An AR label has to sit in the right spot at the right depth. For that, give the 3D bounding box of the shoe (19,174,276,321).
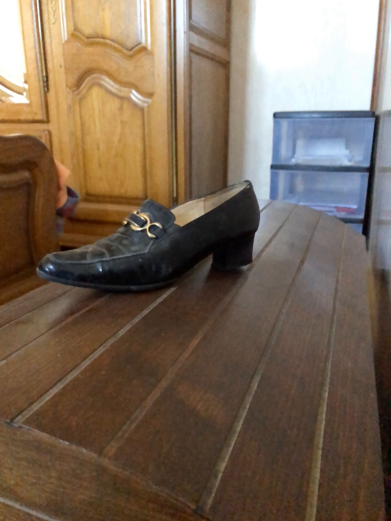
[{"bbox_3d":[-0.039,-0.028,0.443,0.241,0.100,0.090,-11,18,-31],"label":"shoe"}]
